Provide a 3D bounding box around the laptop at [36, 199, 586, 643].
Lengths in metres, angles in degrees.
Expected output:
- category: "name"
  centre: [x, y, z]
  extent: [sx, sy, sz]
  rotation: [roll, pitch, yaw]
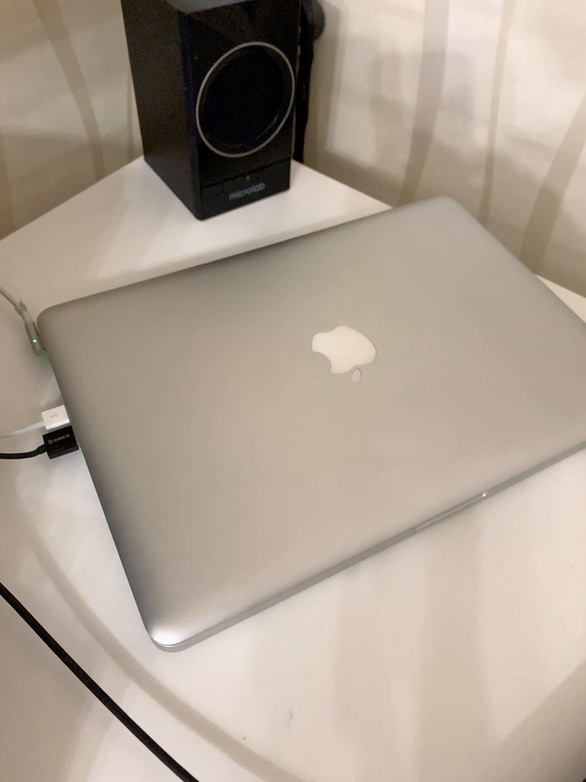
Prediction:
- category: "laptop"
  centre: [0.027, -0.016, 0.369]
  extent: [0.305, 0.011, 0.208]
  rotation: [-21, 58, -19]
